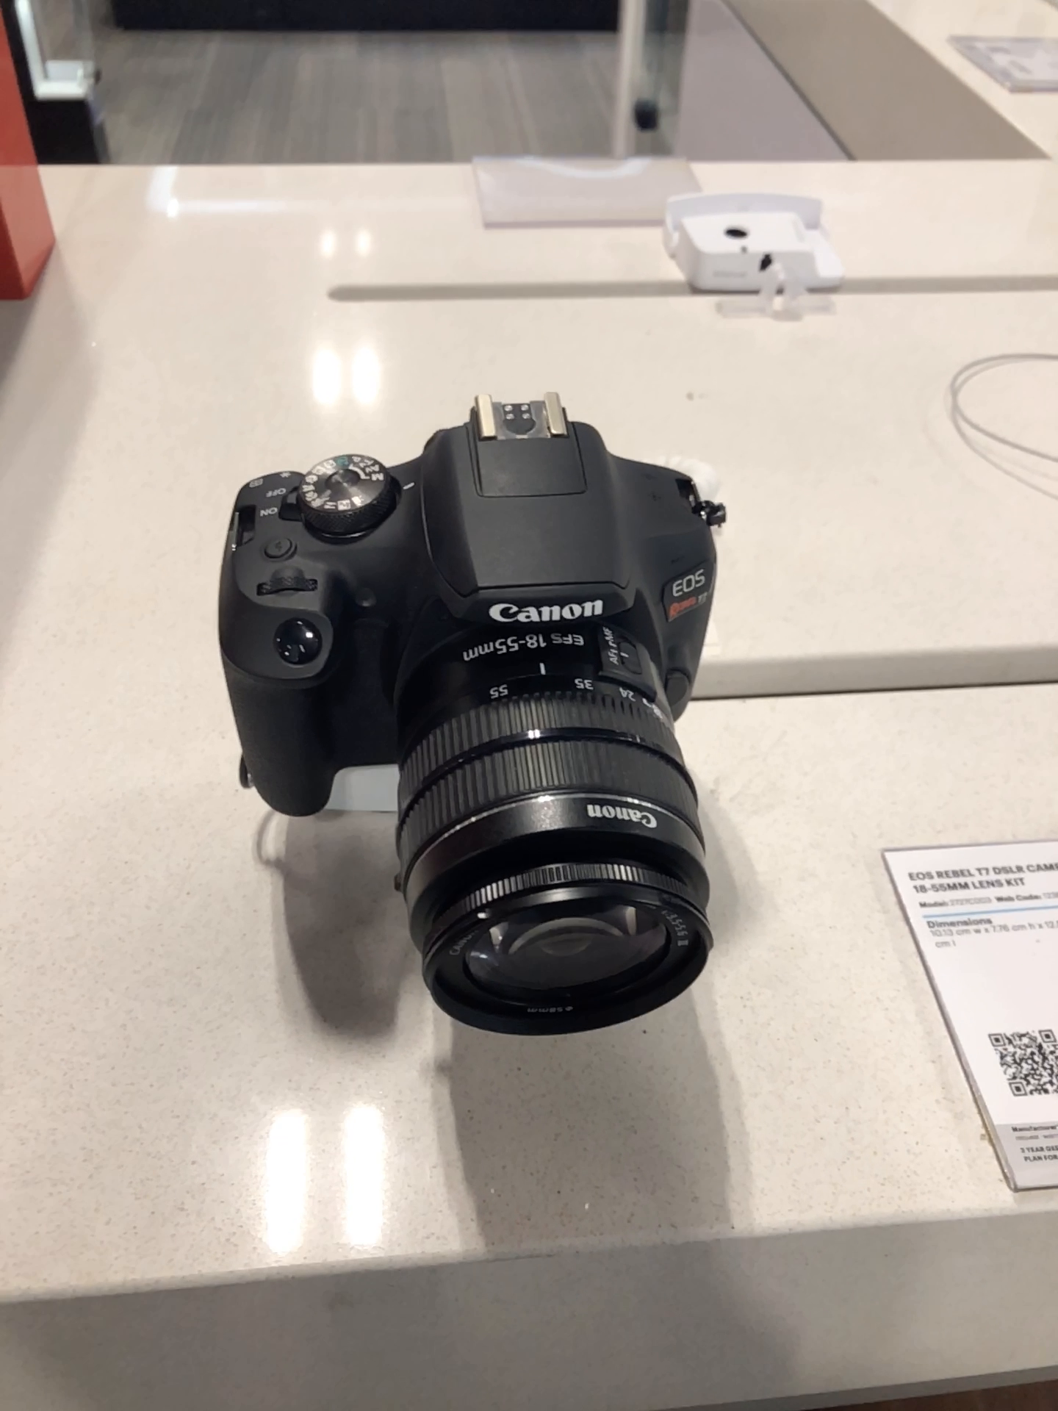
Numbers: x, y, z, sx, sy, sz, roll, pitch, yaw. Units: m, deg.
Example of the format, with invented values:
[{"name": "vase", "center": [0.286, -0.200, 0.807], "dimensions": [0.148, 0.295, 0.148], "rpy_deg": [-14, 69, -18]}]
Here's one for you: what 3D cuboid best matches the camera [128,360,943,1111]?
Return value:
[{"name": "camera", "center": [-0.008, -0.003, 0.284], "dimensions": [0.140, 0.089, 0.151], "rpy_deg": [-5, 44, -7]}]
